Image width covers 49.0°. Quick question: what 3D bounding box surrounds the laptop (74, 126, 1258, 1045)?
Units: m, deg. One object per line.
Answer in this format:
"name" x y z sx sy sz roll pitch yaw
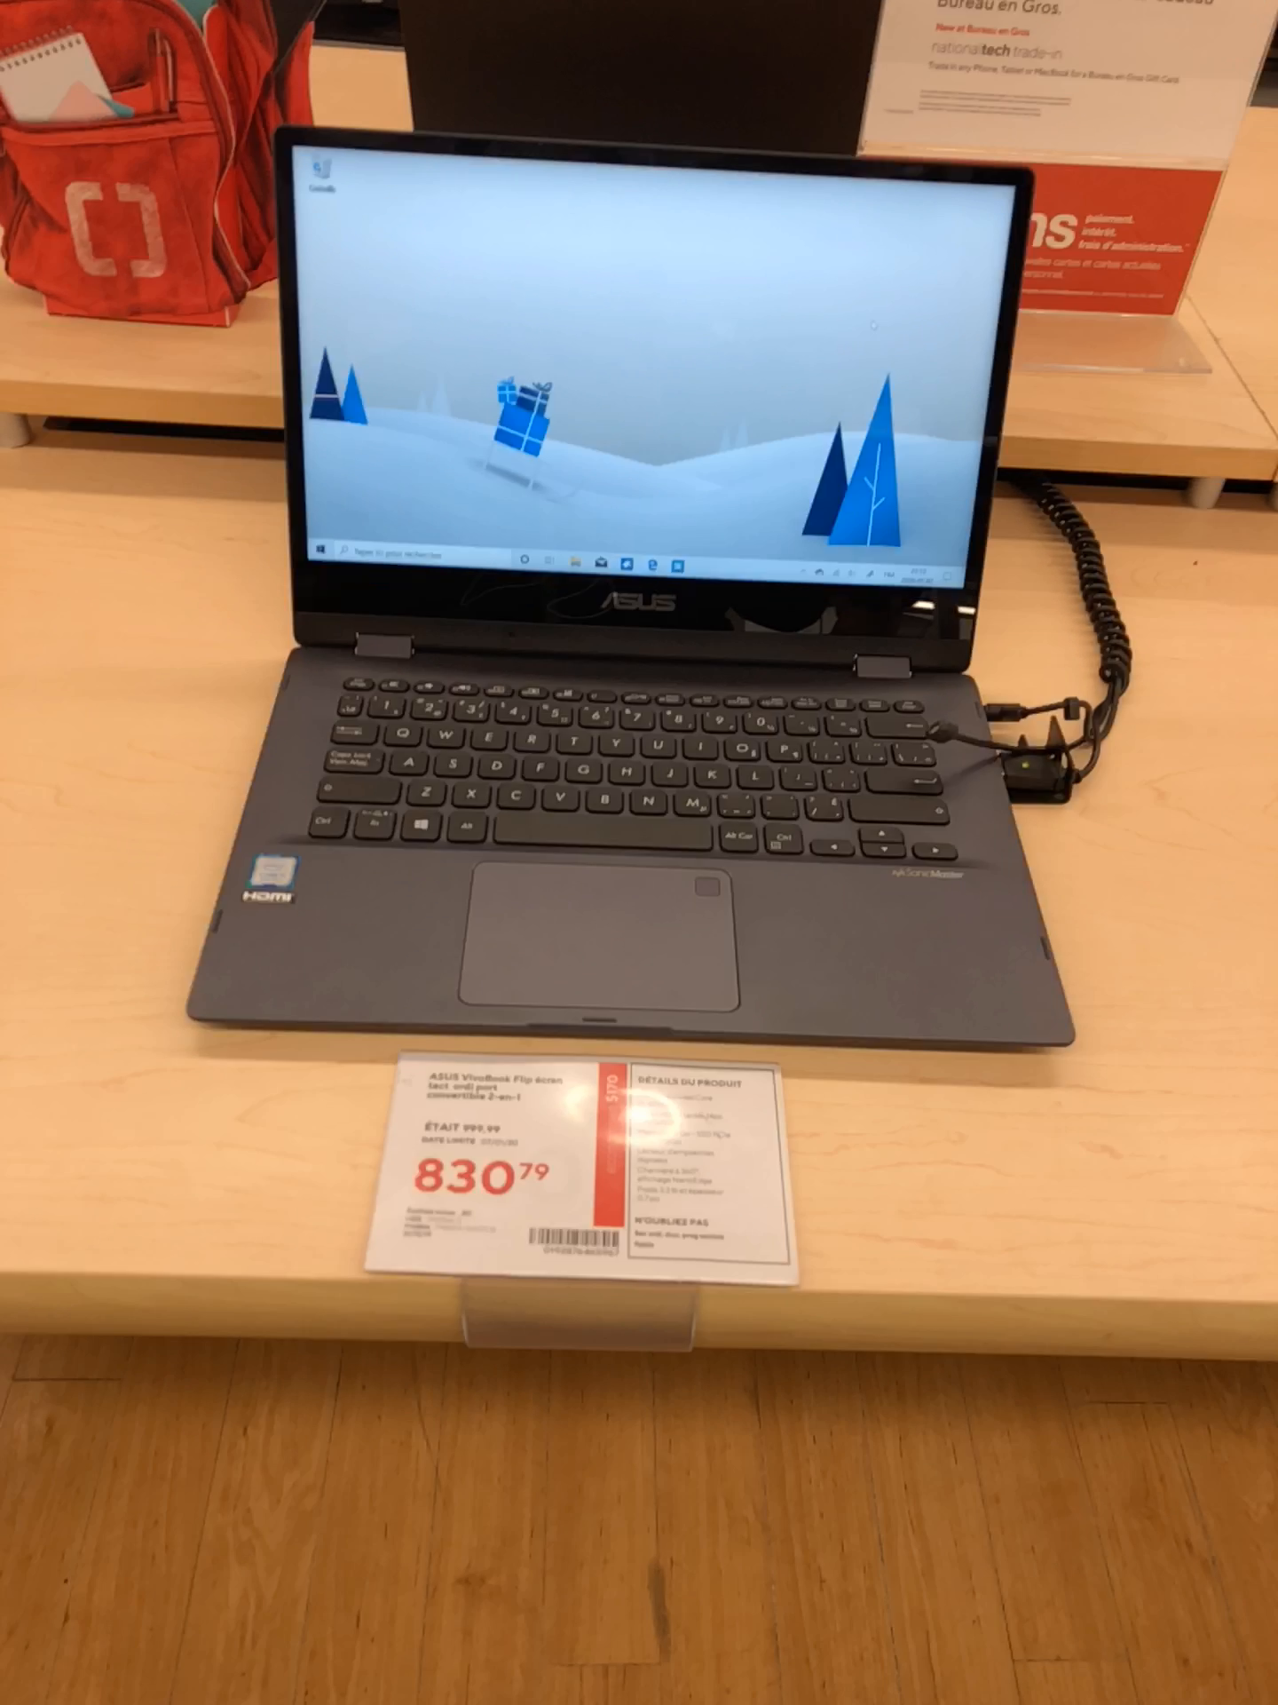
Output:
"laptop" 0.004 -0.116 0.545 0.312 0.188 0.314 2 46 -2
